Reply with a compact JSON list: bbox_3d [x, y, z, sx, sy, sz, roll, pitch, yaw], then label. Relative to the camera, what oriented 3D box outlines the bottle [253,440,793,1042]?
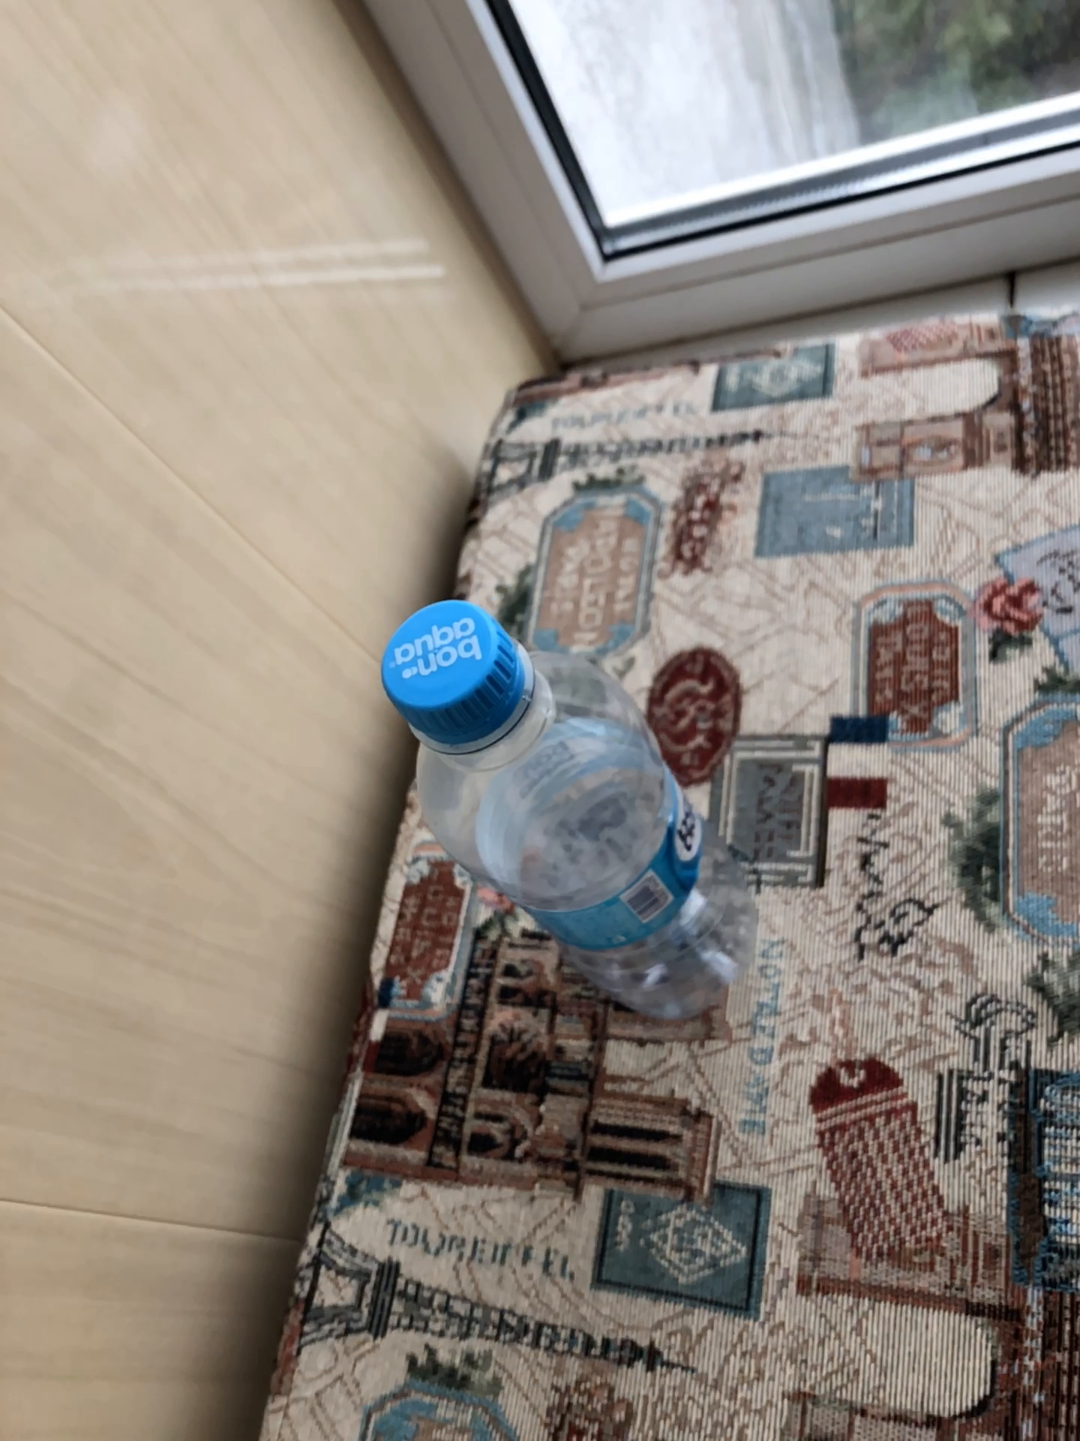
[{"bbox_3d":[0.009,0.025,0.346,0.070,0.209,0.080,-15,59,18],"label":"bottle"}]
